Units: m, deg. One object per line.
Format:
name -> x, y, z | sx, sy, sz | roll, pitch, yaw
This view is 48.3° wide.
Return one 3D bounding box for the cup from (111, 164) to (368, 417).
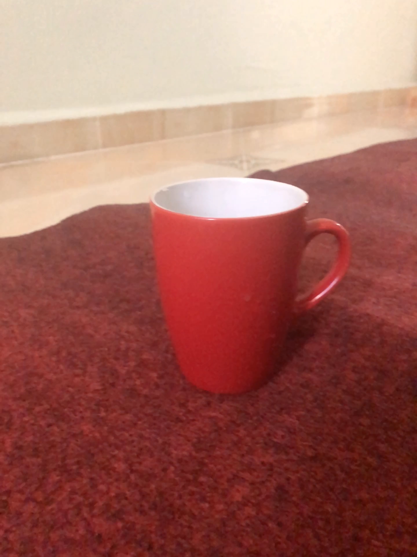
cup -> 0.017, -0.004, 0.260 | 0.109, 0.094, 0.078 | -18, 29, -32
